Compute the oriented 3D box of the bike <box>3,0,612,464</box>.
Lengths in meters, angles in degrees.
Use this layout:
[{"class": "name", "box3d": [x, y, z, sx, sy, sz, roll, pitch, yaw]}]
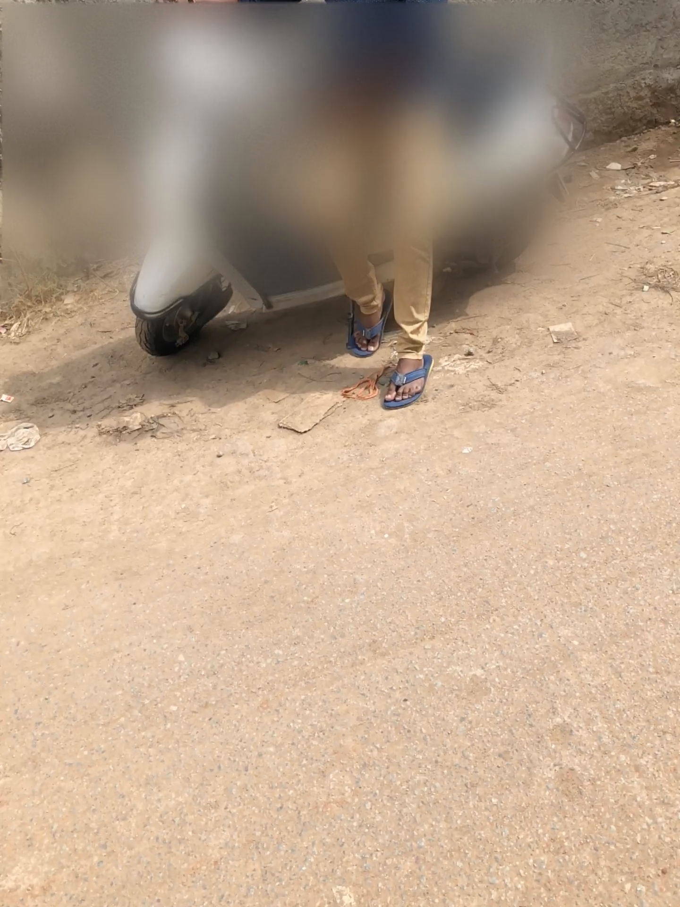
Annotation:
[{"class": "bike", "box3d": [-0.006, -0.858, 2.494, 1.624, 1.140, 0.672, -17, 36, -5]}]
